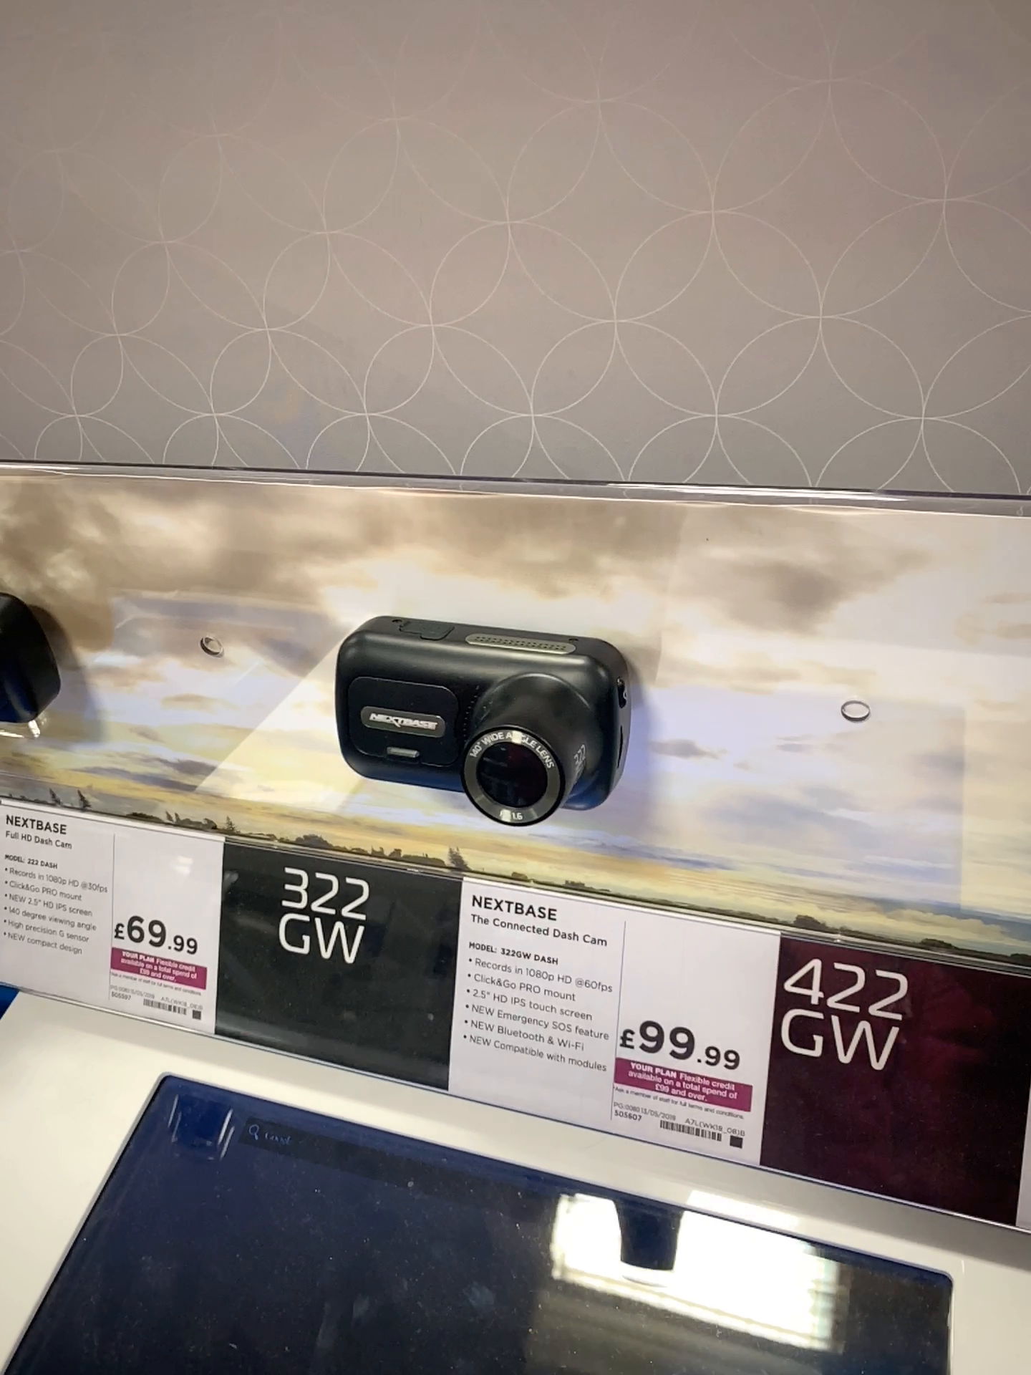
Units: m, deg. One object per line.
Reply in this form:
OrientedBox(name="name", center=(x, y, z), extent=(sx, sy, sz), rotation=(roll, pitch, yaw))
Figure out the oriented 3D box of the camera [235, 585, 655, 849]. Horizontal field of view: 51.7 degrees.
OrientedBox(name="camera", center=(-0.016, 0.003, 0.290), extent=(0.090, 0.040, 0.070), rotation=(7, 20, 21))
